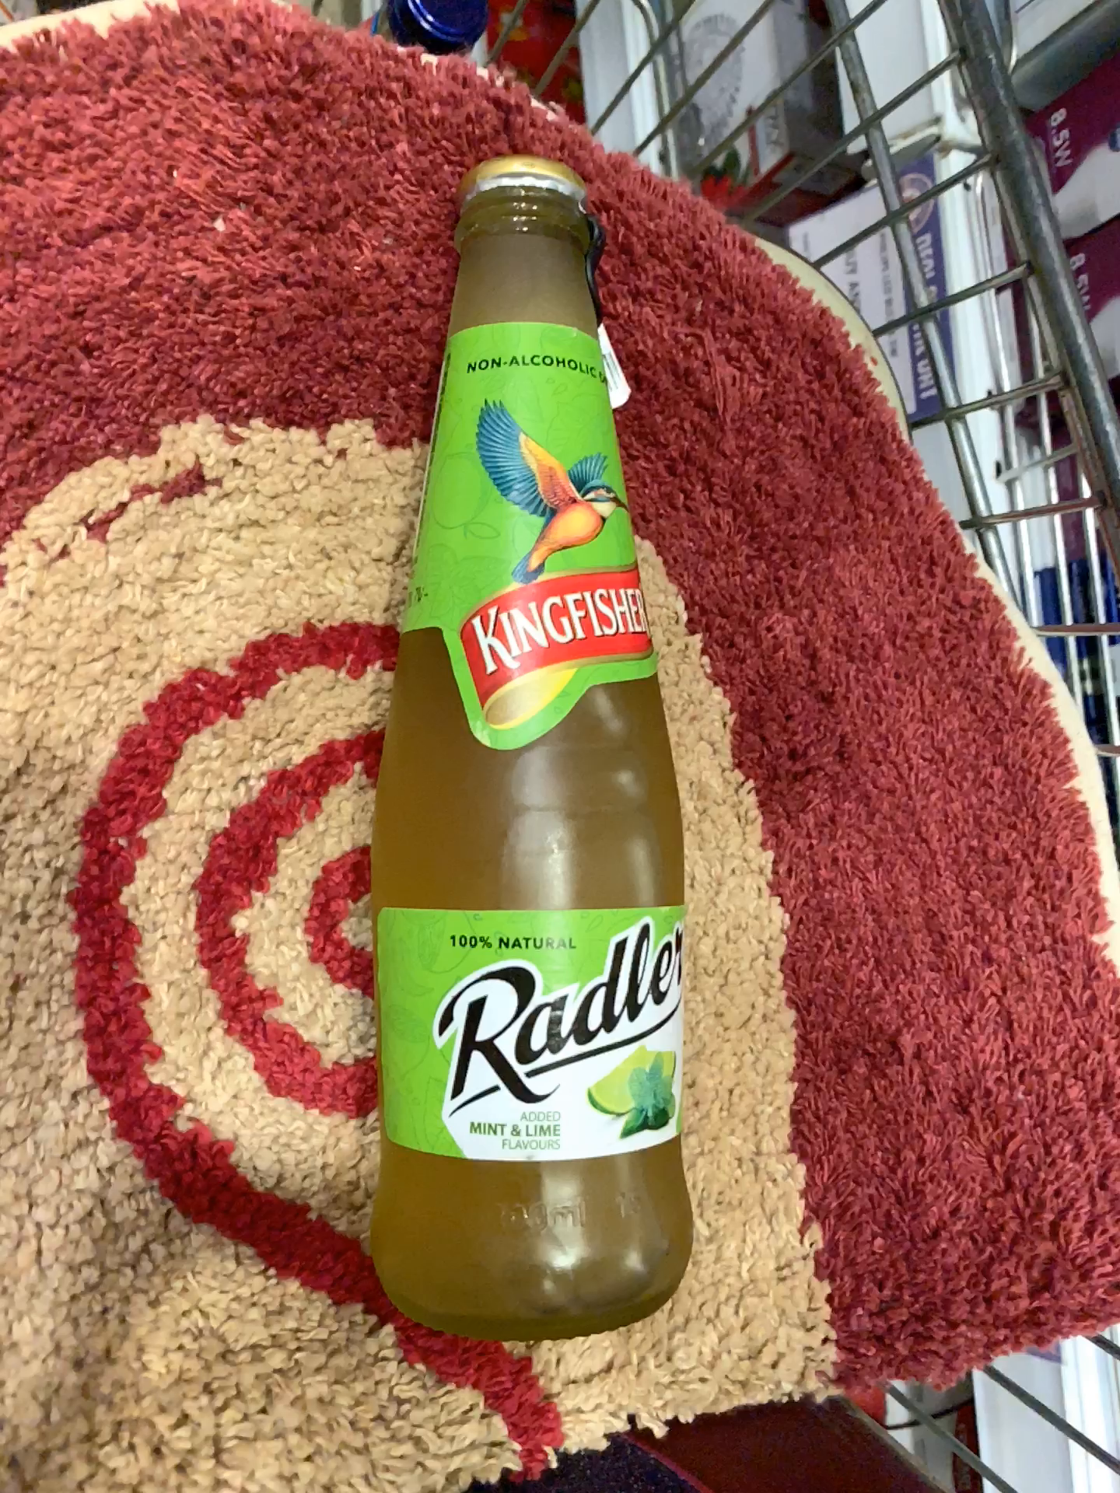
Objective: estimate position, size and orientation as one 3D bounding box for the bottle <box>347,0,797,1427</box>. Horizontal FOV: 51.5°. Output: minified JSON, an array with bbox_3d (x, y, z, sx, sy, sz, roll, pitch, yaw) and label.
[{"bbox_3d":[-0.003,-0.014,0.226,0.060,0.060,0.240,1,84,-25],"label":"bottle"}]
